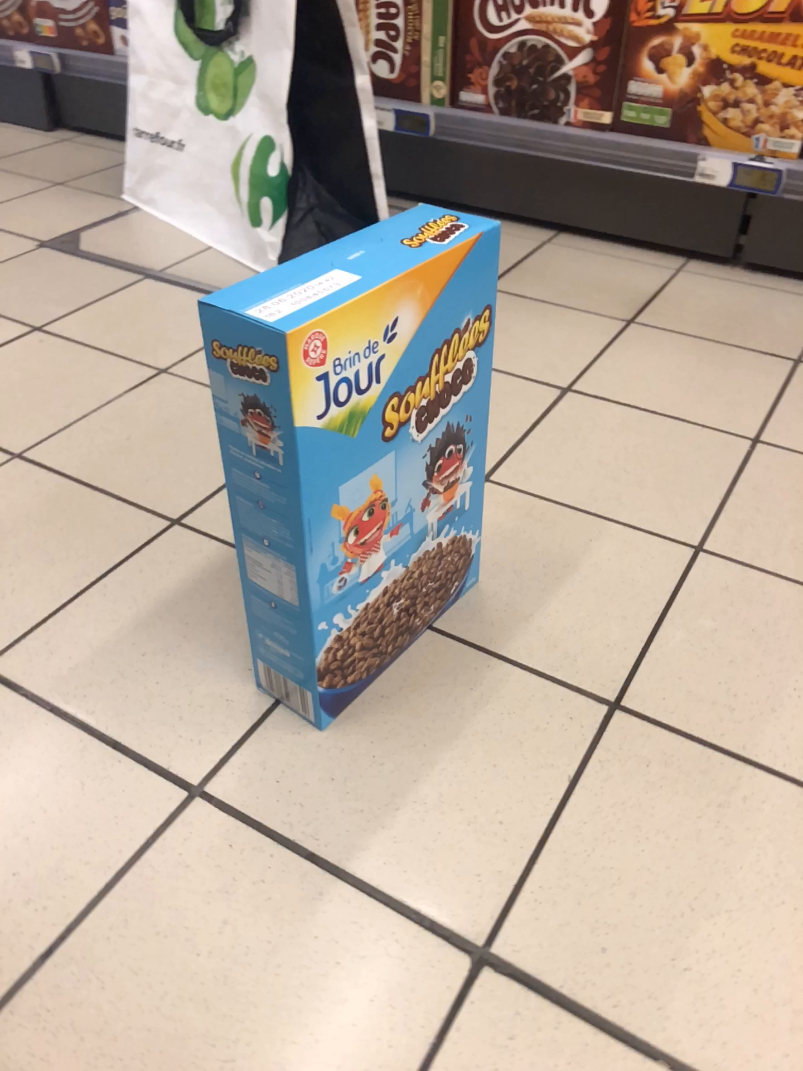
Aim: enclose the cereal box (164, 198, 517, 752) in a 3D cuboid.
[{"bbox_3d":[-0.026,-0.037,0.568,0.080,0.288,0.201,25,44,29],"label":"cereal box"}]
